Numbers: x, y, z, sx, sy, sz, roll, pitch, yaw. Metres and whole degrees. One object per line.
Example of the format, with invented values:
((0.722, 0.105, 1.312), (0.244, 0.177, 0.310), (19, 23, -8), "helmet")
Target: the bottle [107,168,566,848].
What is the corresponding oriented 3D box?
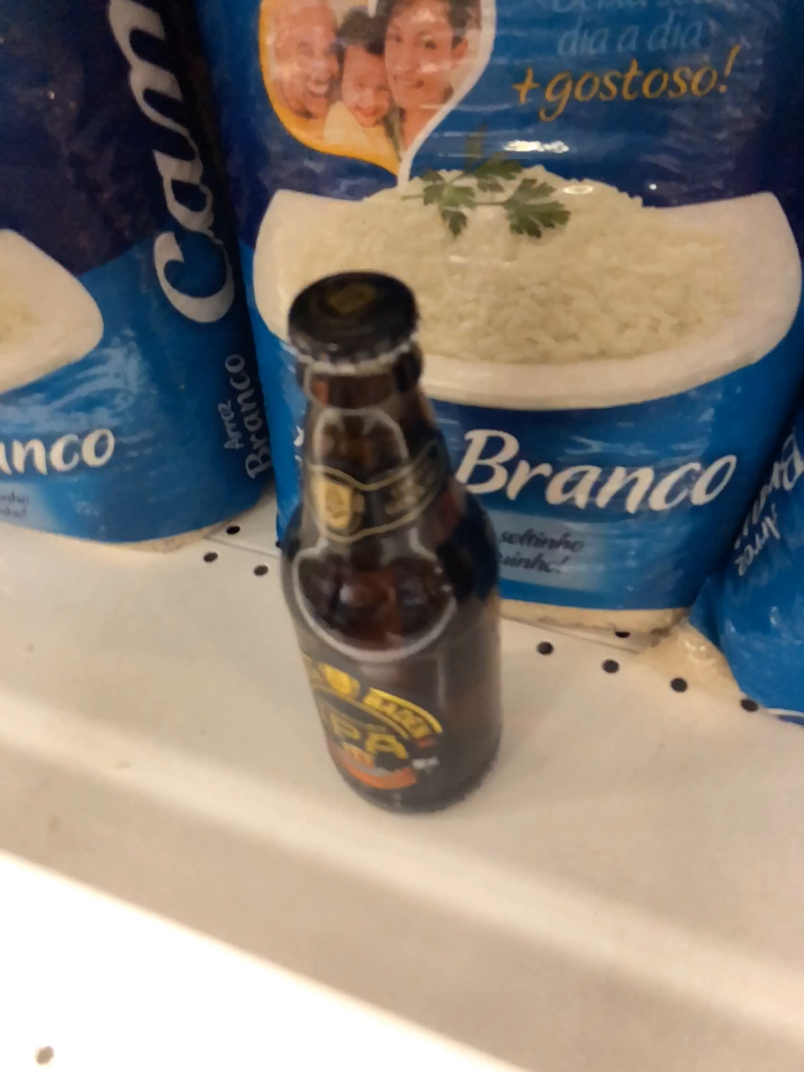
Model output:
((-0.004, 0.008, 0.246), (0.070, 0.189, 0.060), (21, 55, 22), "bottle")
